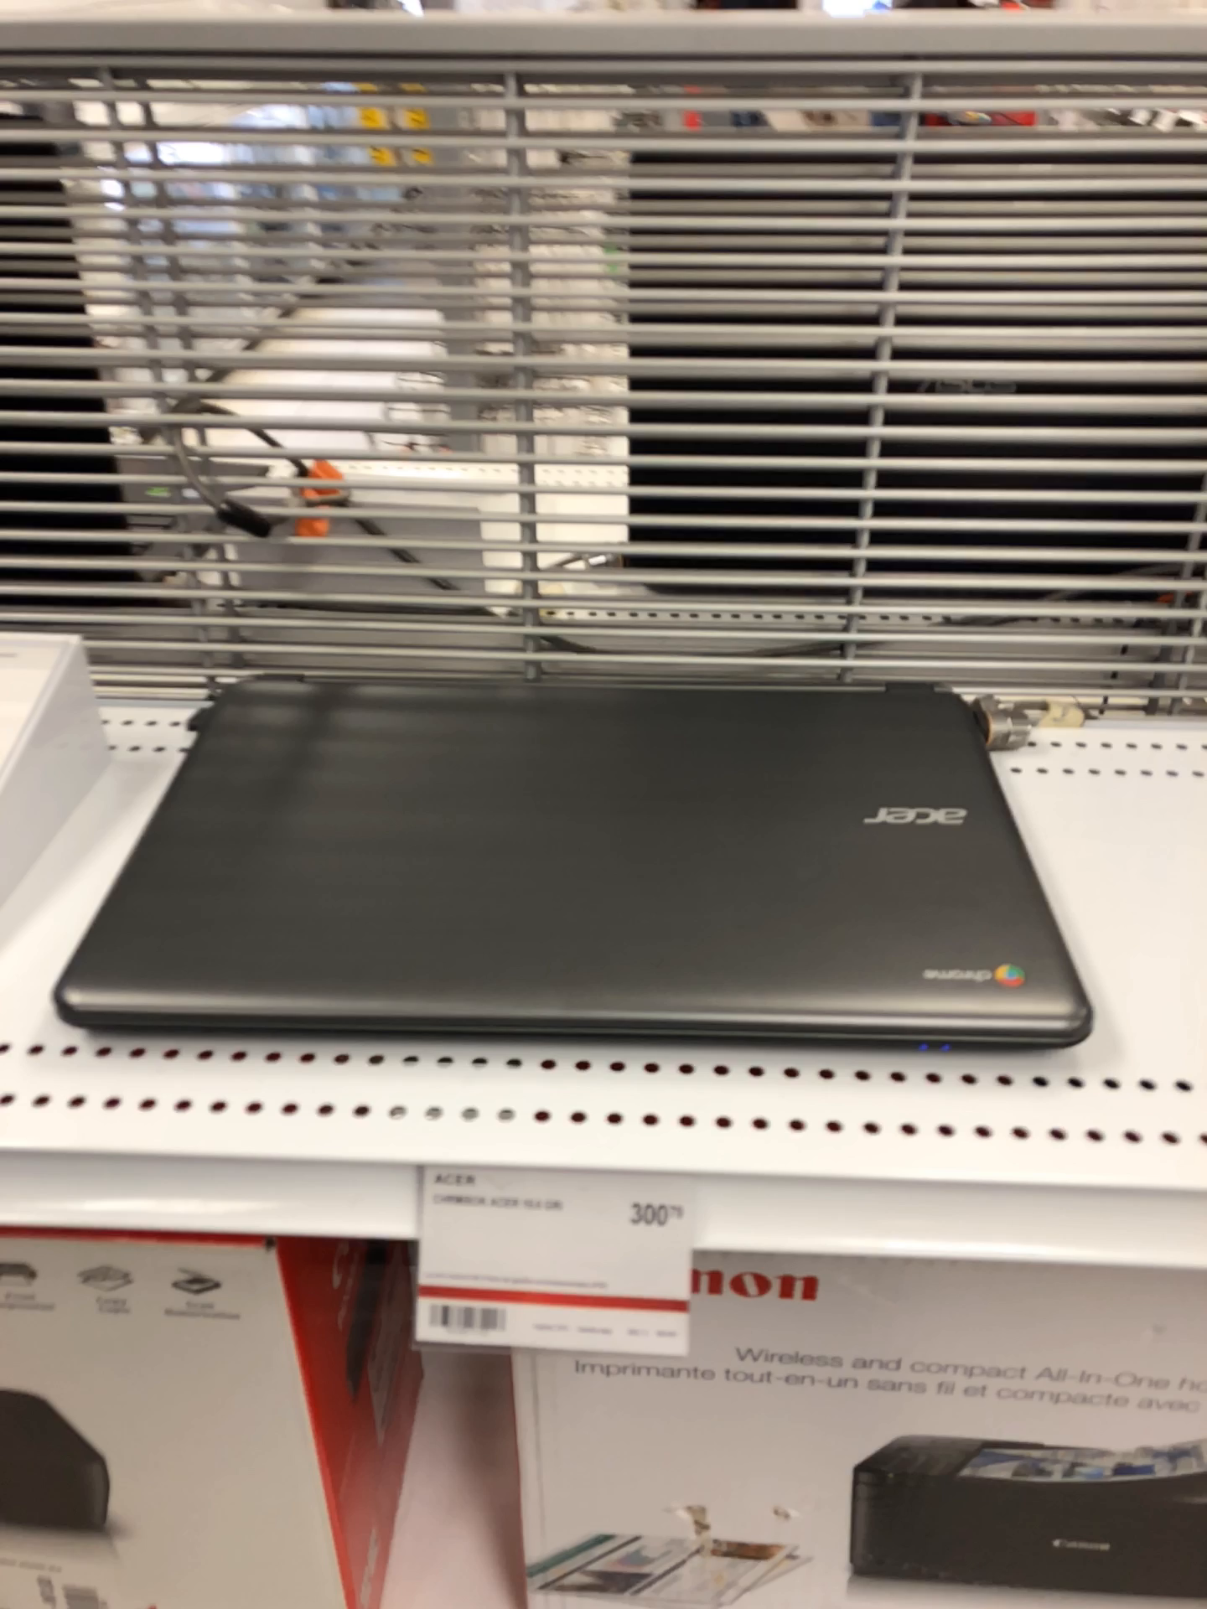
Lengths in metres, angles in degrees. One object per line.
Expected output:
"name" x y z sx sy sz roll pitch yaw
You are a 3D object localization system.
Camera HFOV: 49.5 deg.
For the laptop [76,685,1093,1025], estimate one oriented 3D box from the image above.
"laptop" -0.011 0.007 0.570 0.367 0.001 0.238 1 33 3
